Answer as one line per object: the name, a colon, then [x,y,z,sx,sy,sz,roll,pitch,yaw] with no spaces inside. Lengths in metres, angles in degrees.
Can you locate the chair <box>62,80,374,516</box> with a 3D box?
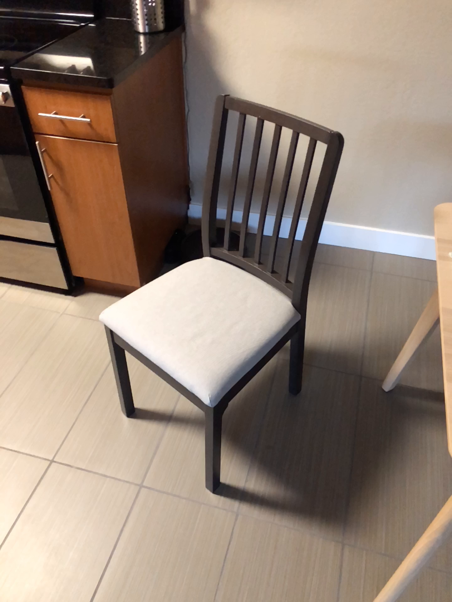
chair: [-0.018,0.041,1.490,0.511,1.125,0.481,-32,51,-31]
